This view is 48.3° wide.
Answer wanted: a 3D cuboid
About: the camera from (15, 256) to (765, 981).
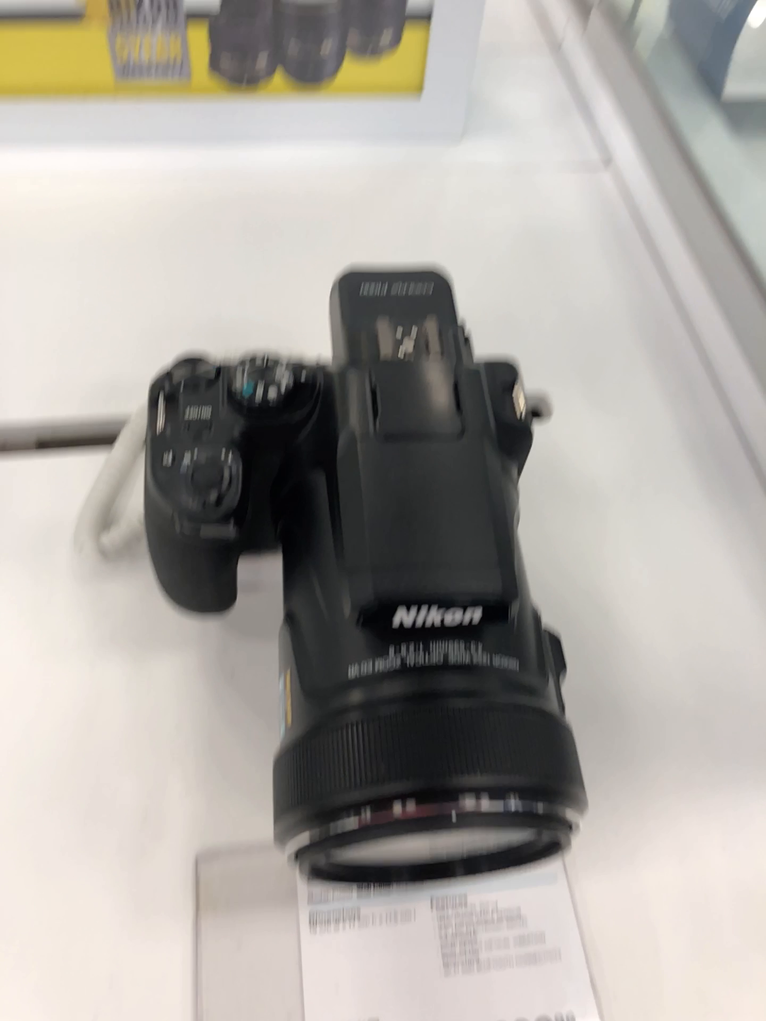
[{"bbox_3d":[-0.009,0.027,0.275,0.160,0.110,0.190,-4,56,-8],"label":"camera"}]
